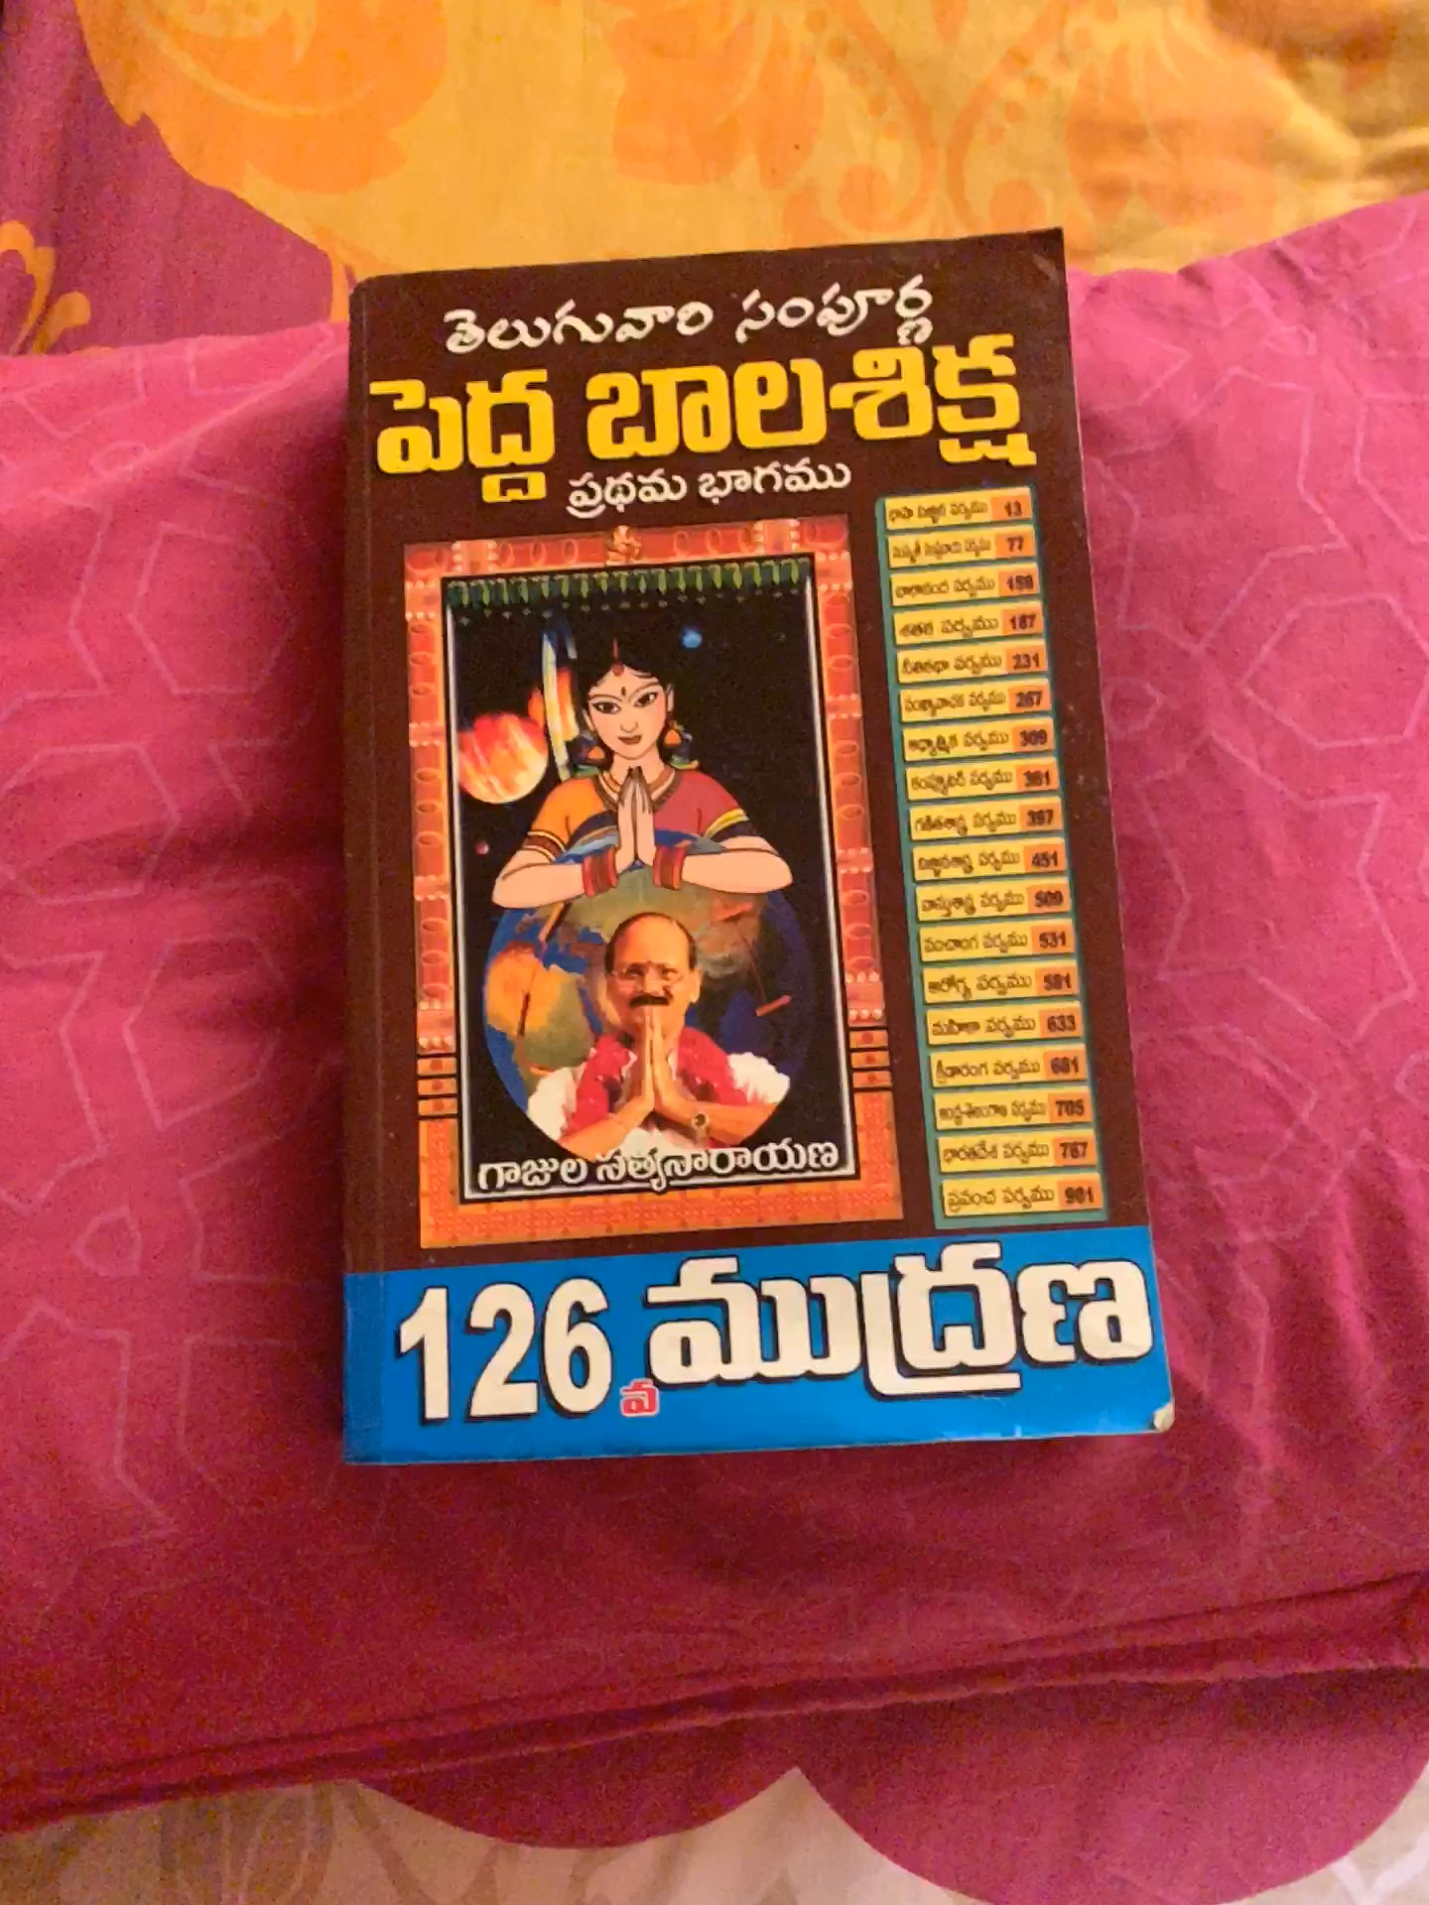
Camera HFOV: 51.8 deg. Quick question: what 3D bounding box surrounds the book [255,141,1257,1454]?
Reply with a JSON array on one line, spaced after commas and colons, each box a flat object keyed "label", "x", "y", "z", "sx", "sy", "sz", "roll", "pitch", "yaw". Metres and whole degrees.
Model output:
[{"label": "book", "x": 0.002, "y": -0.036, "z": 0.314, "sx": 0.180, "sy": 0.050, "sz": 0.260, "roll": -3, "pitch": 78, "yaw": 2}]
